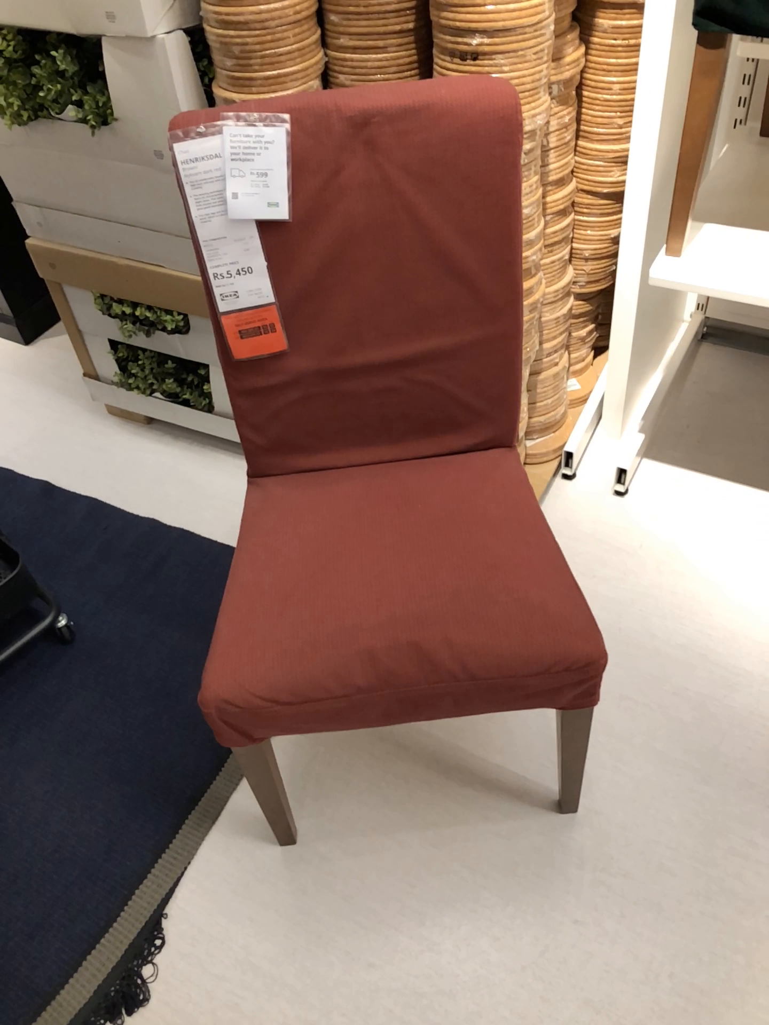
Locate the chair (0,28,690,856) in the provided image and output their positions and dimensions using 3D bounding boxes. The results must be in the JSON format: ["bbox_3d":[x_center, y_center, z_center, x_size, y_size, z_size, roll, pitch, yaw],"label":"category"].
[{"bbox_3d":[0.000,-0.008,1.174,0.520,0.994,0.533,-6,46,2],"label":"chair"}]
